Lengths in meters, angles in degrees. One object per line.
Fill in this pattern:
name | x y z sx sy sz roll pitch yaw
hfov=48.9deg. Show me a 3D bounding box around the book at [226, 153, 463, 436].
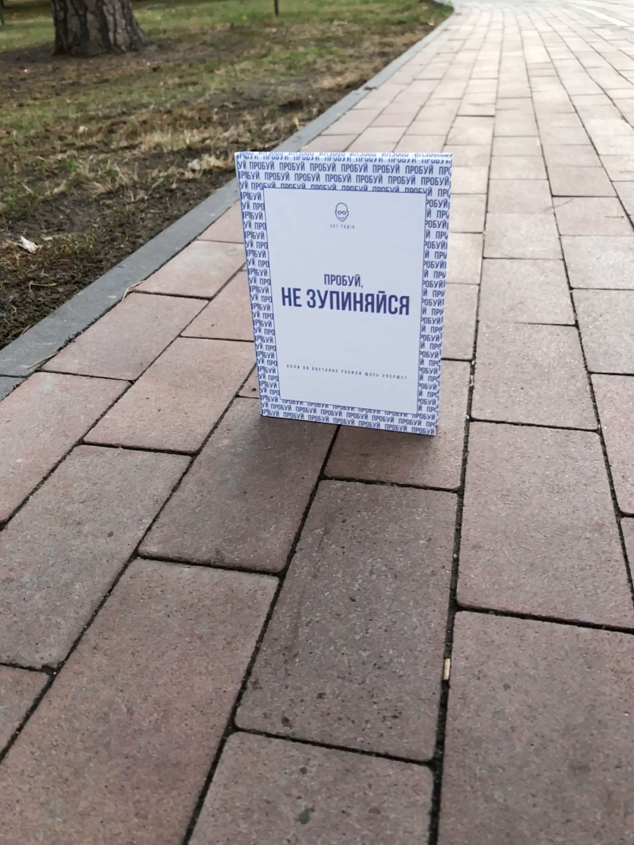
book | 0.020 -0.087 0.498 0.151 0.196 0.023 6 32 14
